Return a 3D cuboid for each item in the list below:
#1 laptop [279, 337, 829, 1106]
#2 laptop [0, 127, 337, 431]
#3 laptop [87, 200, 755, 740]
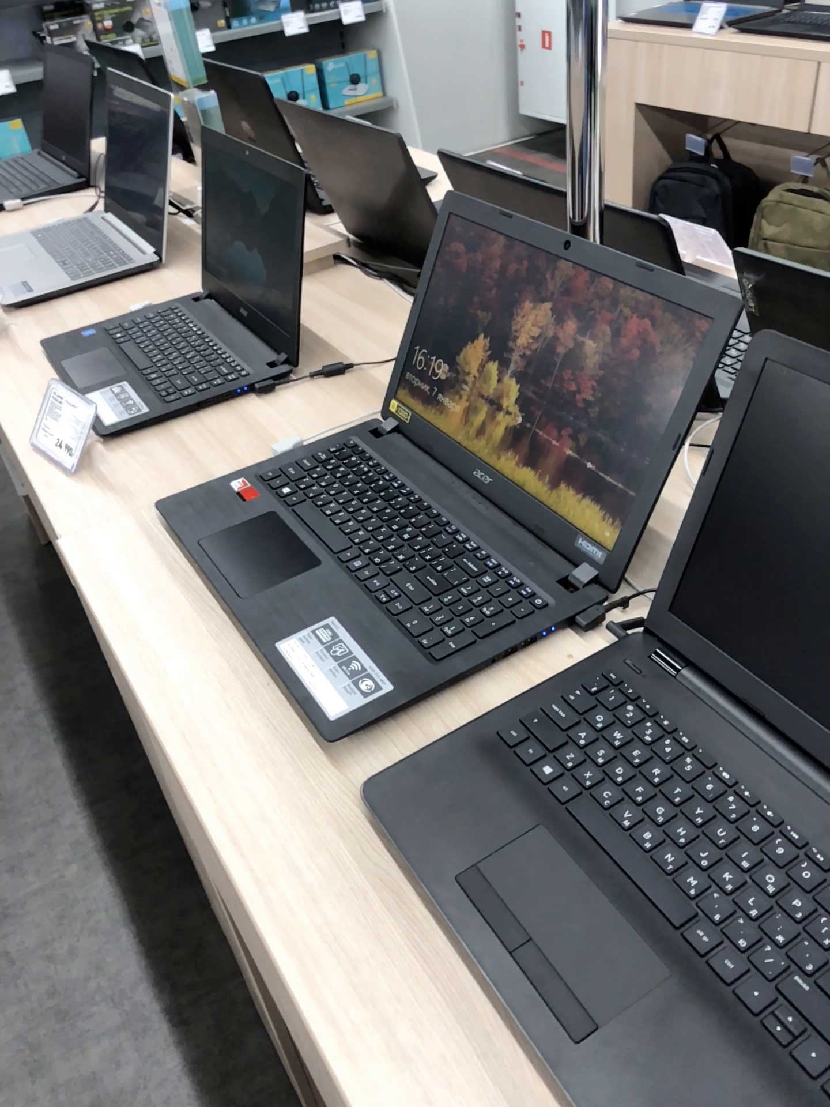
[{"bbox_3d":[0.190,0.094,0.460,0.338,0.212,0.379,-23,40,-20],"label":"laptop"},{"bbox_3d":[-0.318,-0.360,1.142,0.301,0.214,0.307,-24,41,-20],"label":"laptop"},{"bbox_3d":[-0.010,-0.110,0.768,0.367,0.208,0.375,-25,40,-21],"label":"laptop"}]
